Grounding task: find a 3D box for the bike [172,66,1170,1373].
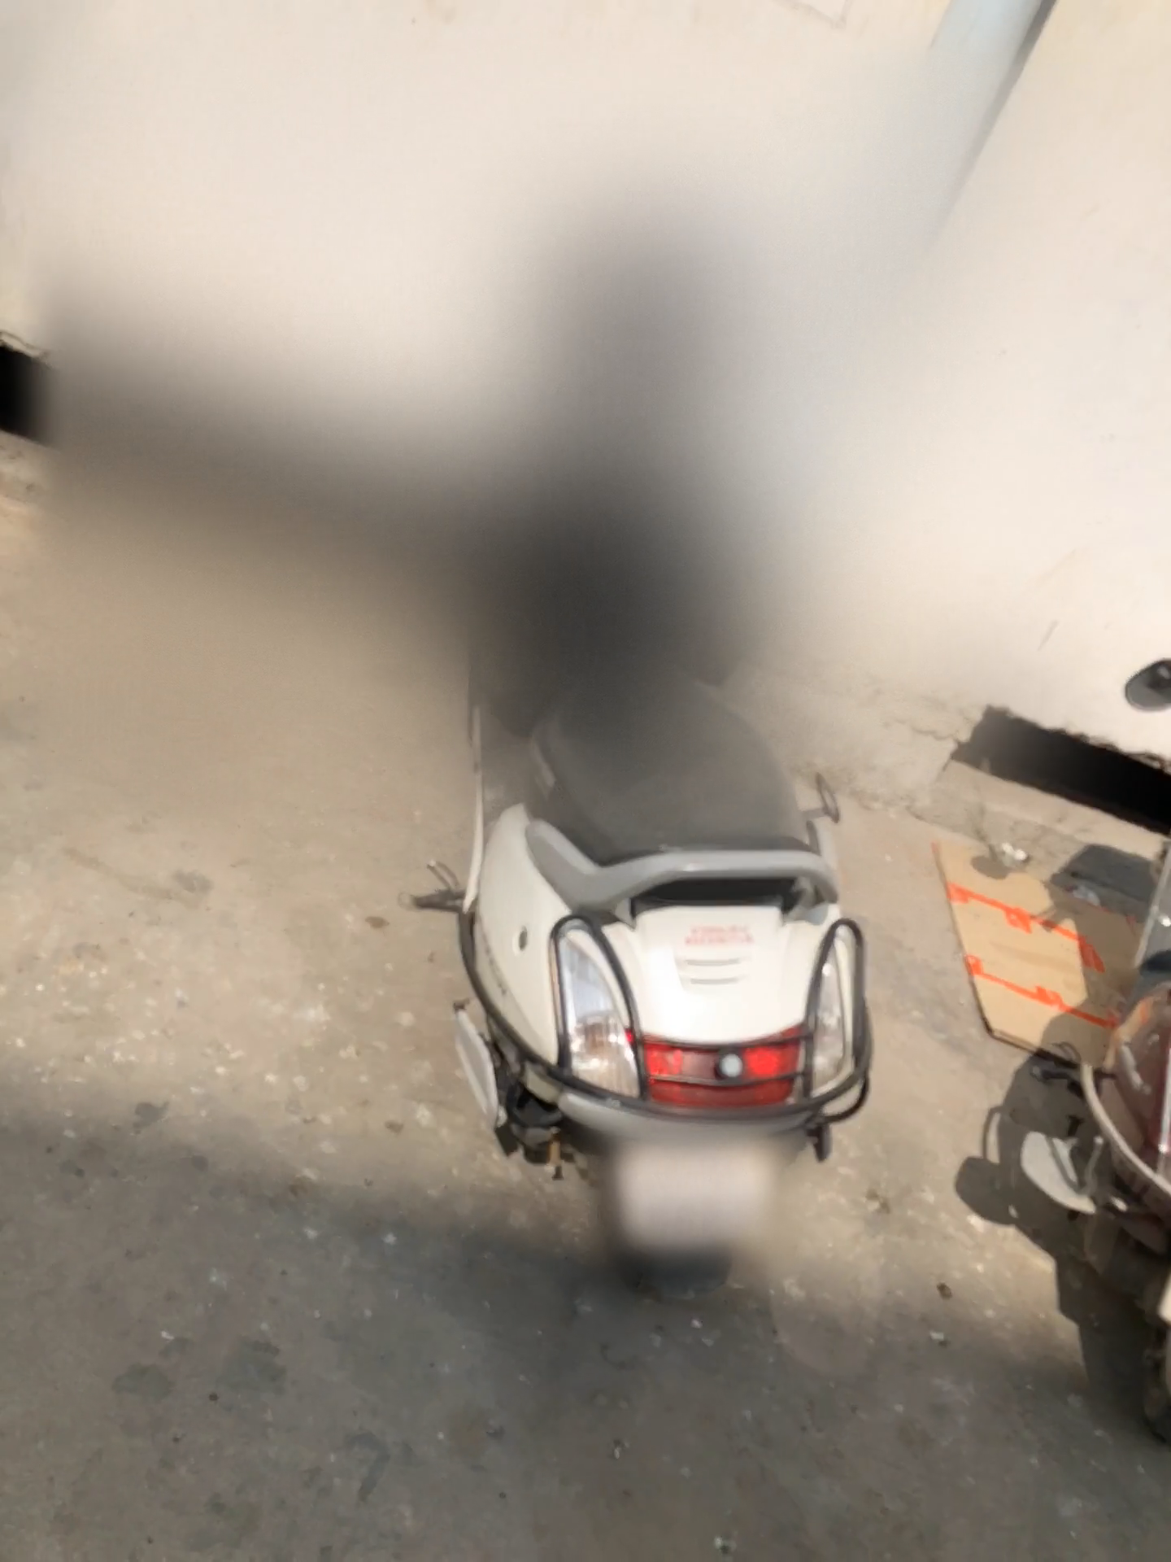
[{"bbox_3d":[-0.101,-0.122,1.861,0.625,1.122,1.306,7,36,-28],"label":"bike"}]
